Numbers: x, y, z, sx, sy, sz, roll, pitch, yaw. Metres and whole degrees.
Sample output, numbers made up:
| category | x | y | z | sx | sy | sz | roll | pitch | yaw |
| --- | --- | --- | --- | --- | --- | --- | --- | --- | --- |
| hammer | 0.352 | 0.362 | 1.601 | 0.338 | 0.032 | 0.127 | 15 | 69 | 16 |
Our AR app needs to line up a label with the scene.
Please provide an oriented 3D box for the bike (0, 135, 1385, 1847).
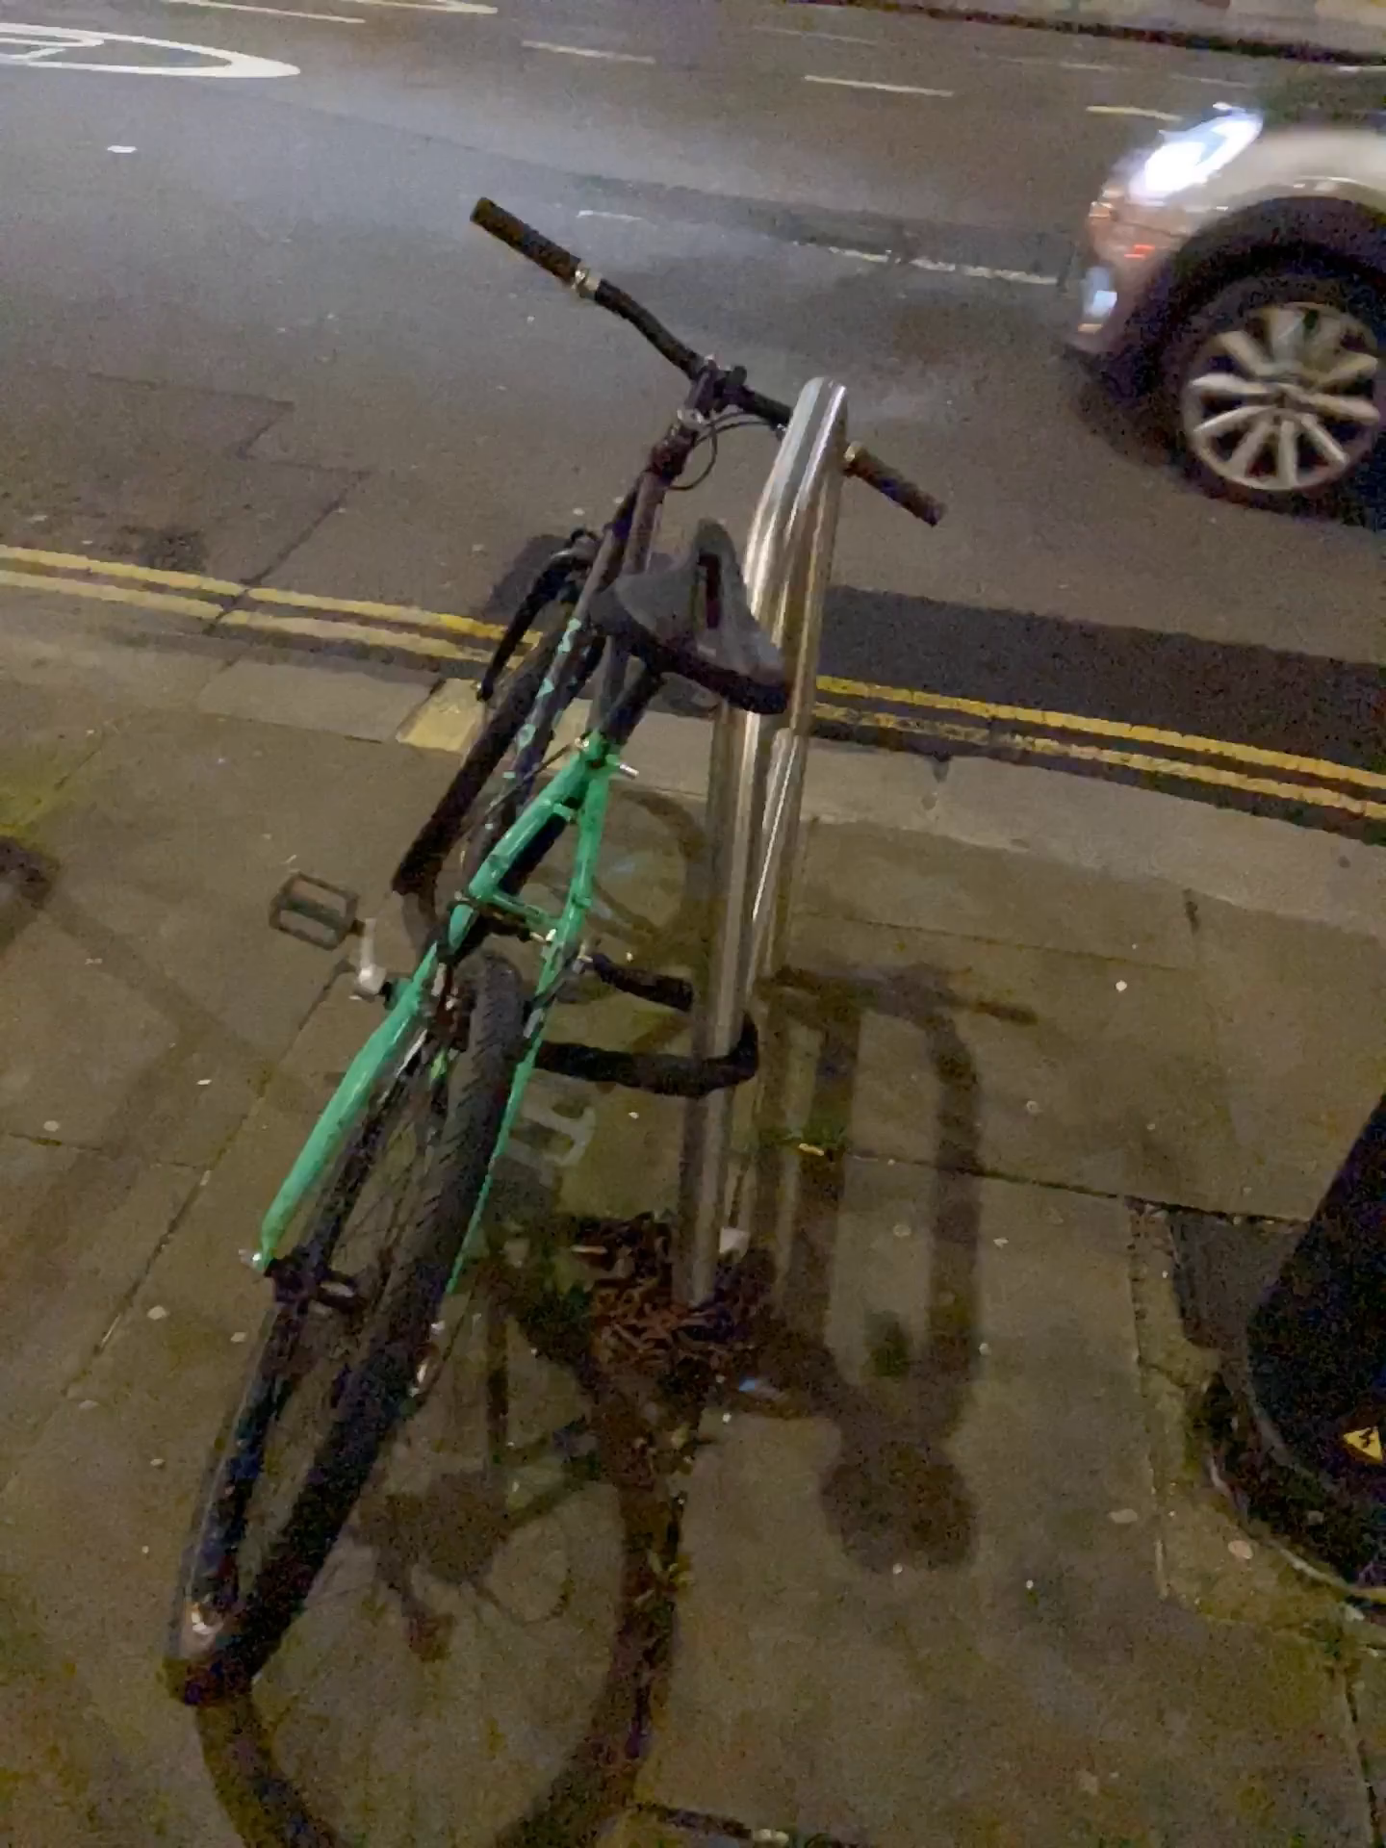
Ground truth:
| category | x | y | z | sx | sy | sz | roll | pitch | yaw |
| --- | --- | --- | --- | --- | --- | --- | --- | --- | --- |
| bike | 0.012 | -0.138 | 1.551 | 0.638 | 1.014 | 1.697 | 4 | 37 | 1 |
